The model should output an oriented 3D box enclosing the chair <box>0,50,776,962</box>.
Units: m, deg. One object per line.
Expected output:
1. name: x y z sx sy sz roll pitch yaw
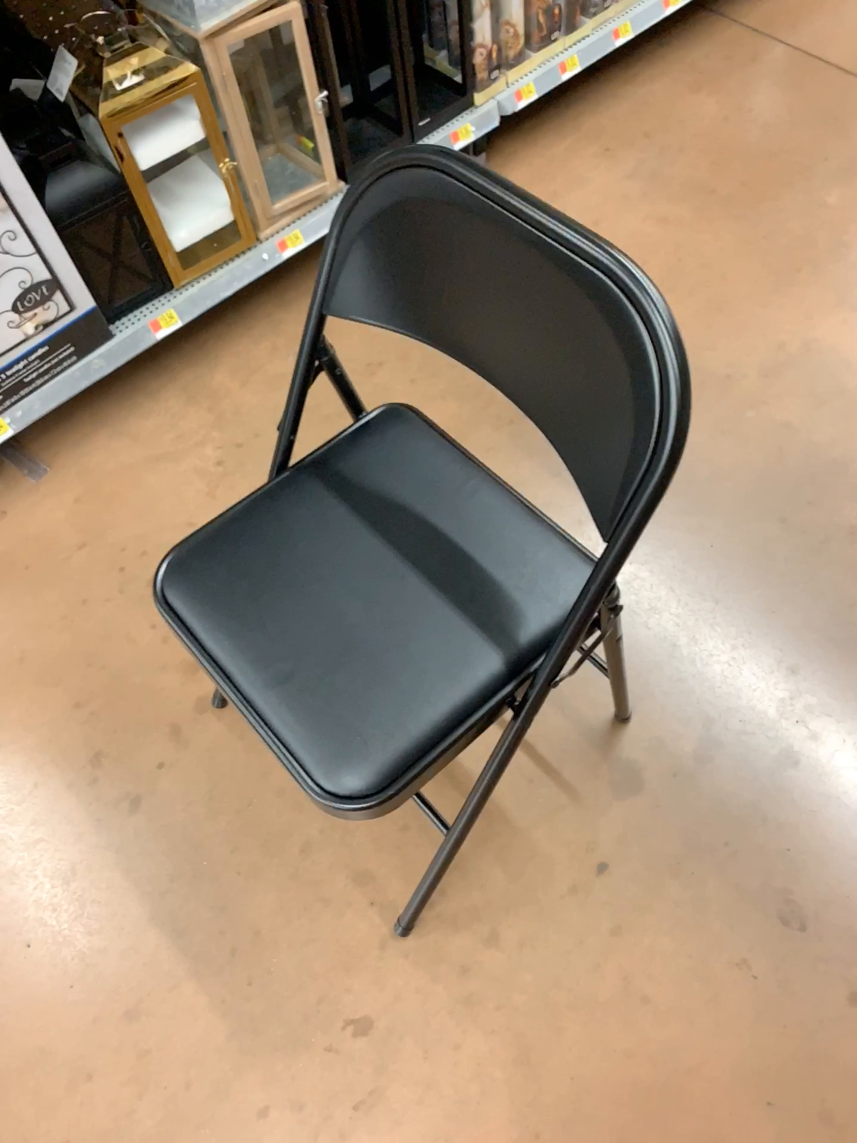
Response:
1. chair: -0.071 0.003 0.908 0.470 0.698 0.471 -39 63 -16
